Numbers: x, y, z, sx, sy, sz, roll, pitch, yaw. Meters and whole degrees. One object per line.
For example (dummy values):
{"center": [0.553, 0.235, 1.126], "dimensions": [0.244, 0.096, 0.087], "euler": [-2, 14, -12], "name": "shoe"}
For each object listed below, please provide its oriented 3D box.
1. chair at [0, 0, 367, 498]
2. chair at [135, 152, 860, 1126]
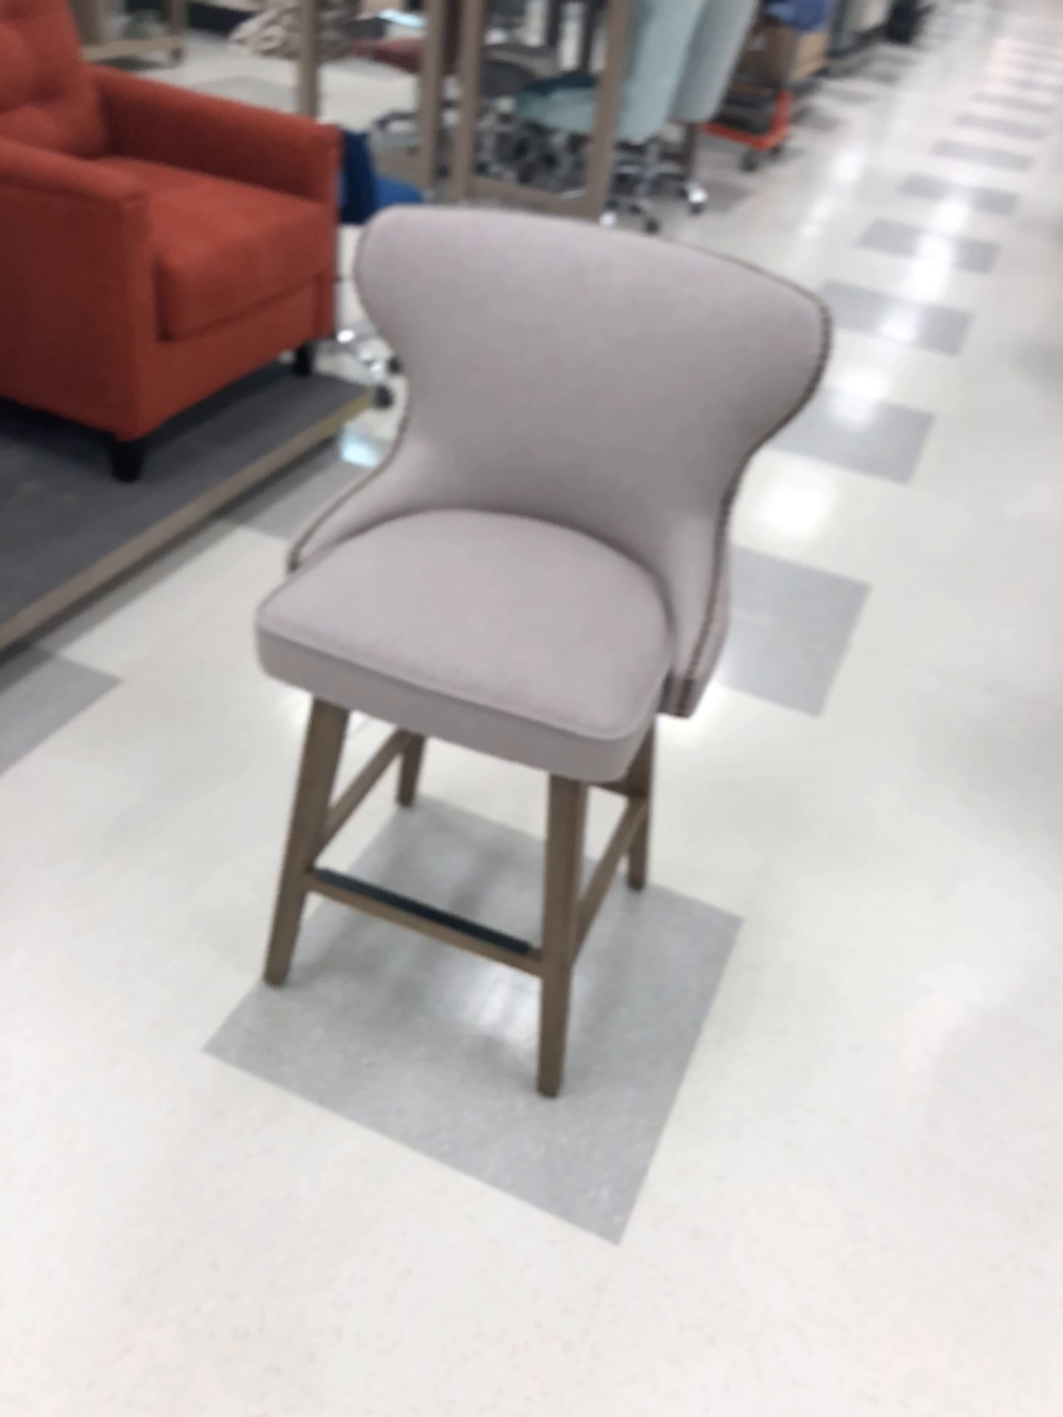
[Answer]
{"center": [-1.070, -1.244, 2.773], "dimensions": [0.997, 0.969, 0.915], "euler": [21, 38, 16], "name": "chair"}
{"center": [-0.055, -0.072, 1.500], "dimensions": [0.608, 0.999, 0.480], "euler": [18, 37, 13], "name": "chair"}
